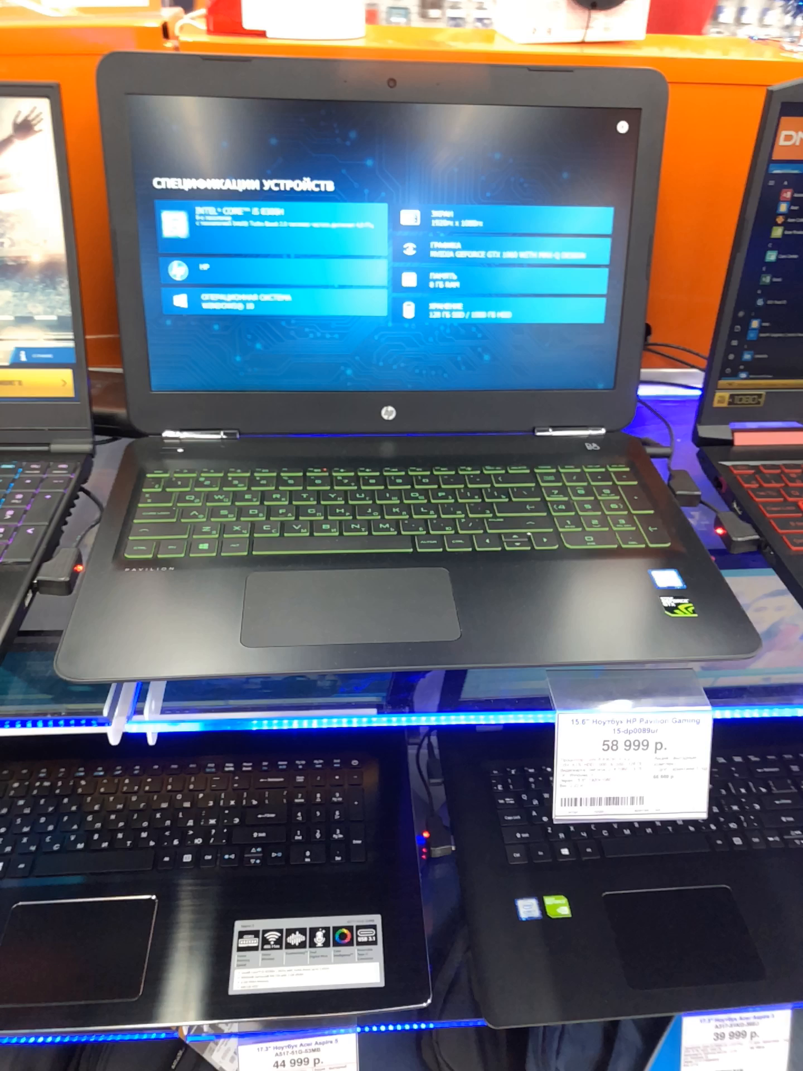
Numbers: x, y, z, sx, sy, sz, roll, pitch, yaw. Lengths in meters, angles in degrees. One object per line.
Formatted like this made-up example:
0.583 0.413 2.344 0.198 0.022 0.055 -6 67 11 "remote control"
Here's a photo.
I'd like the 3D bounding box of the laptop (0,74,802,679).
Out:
0.006 -0.119 0.524 0.357 0.235 0.313 -1 34 -5 "laptop"
